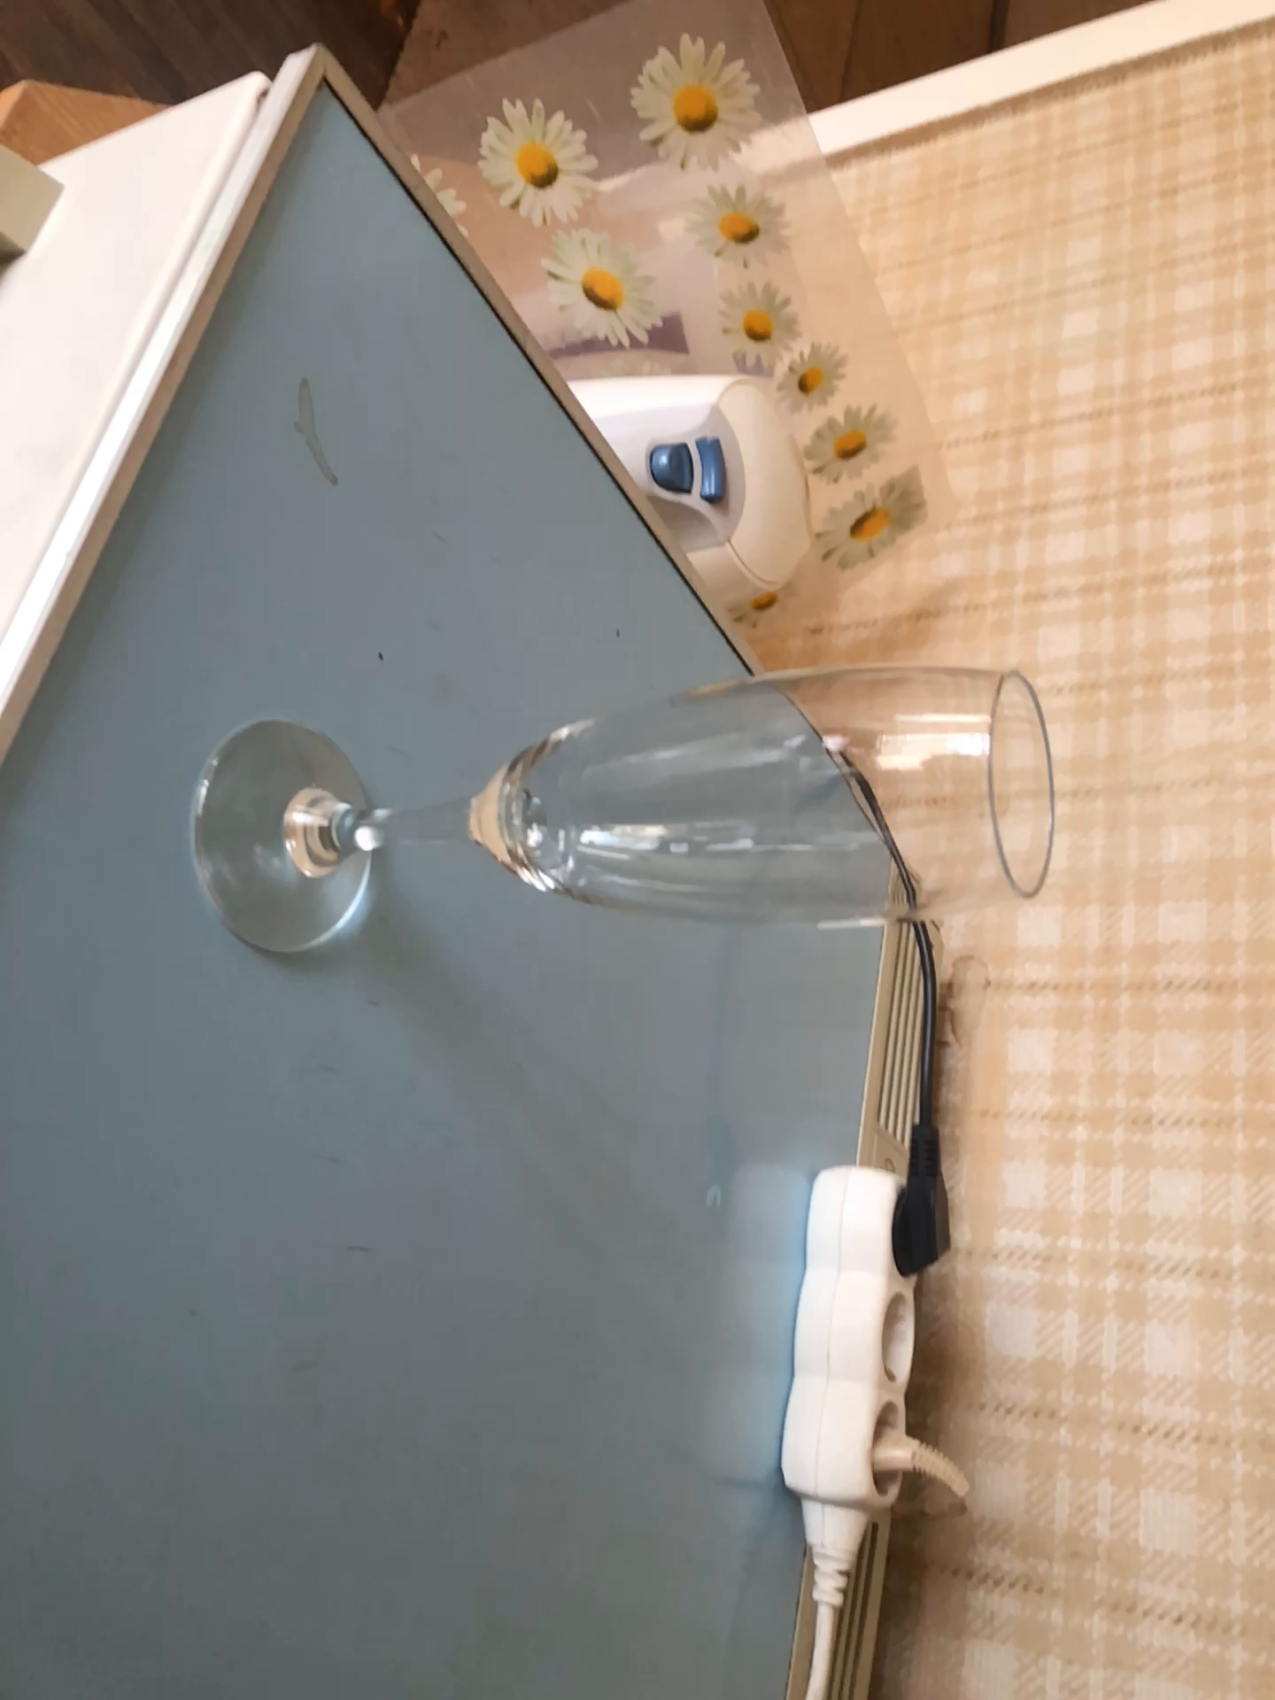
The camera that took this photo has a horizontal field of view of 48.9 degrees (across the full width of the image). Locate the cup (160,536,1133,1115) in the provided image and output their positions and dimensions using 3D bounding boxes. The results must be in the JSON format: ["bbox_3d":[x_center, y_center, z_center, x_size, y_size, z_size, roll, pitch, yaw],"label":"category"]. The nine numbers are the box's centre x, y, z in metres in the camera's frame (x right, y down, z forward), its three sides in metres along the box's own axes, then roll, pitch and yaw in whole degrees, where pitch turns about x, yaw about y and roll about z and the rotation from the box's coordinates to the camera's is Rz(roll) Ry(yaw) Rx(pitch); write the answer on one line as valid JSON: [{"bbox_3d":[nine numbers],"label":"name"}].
[{"bbox_3d":[0.003,0.005,0.328,0.090,0.199,0.090,12,77,-60],"label":"cup"}]
